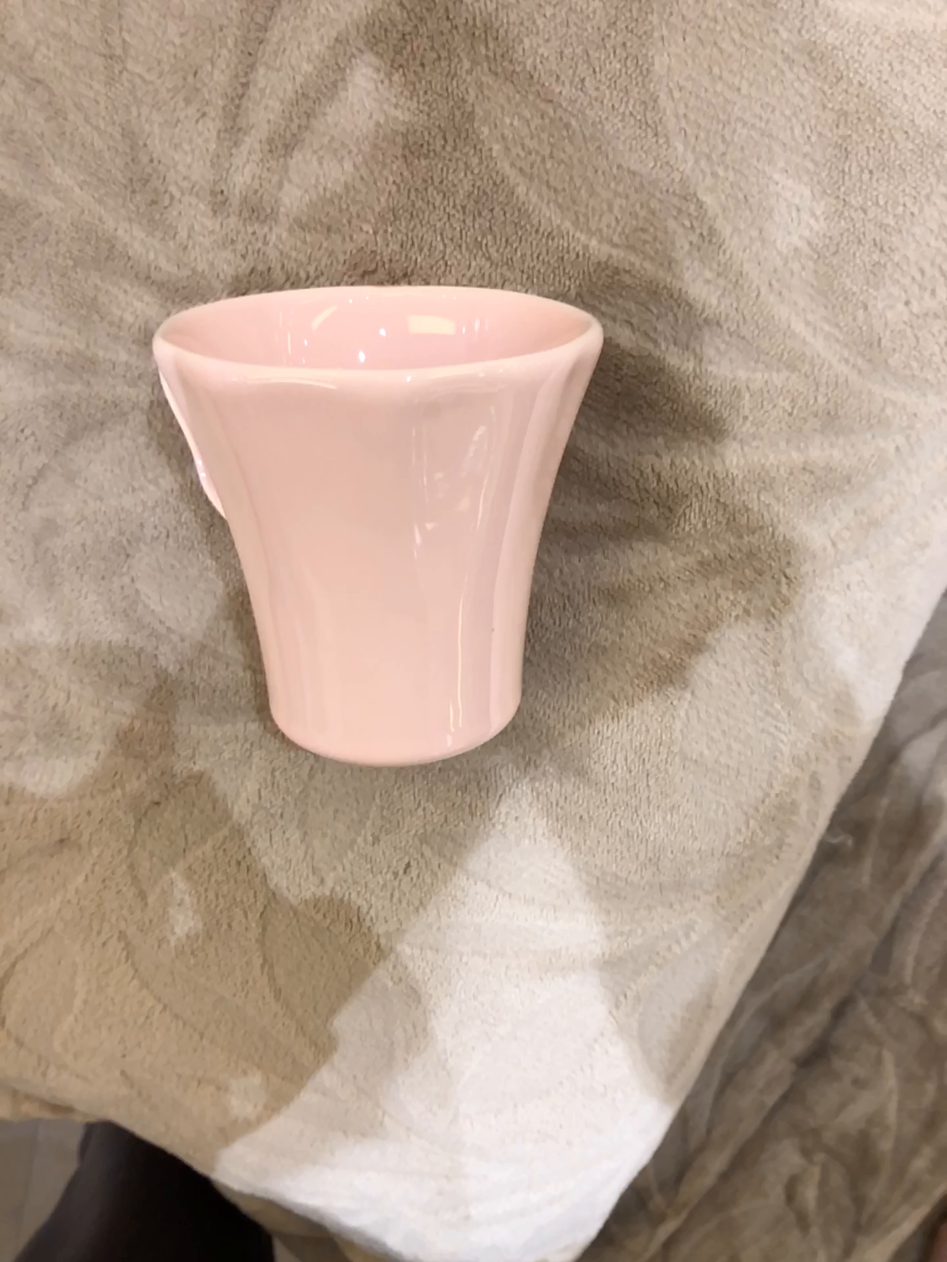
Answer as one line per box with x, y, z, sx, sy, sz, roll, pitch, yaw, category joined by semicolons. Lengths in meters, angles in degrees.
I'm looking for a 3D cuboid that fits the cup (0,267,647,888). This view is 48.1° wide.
-0.029;-0.021;0.215;0.100;0.070;0.090;17;120;34;cup
